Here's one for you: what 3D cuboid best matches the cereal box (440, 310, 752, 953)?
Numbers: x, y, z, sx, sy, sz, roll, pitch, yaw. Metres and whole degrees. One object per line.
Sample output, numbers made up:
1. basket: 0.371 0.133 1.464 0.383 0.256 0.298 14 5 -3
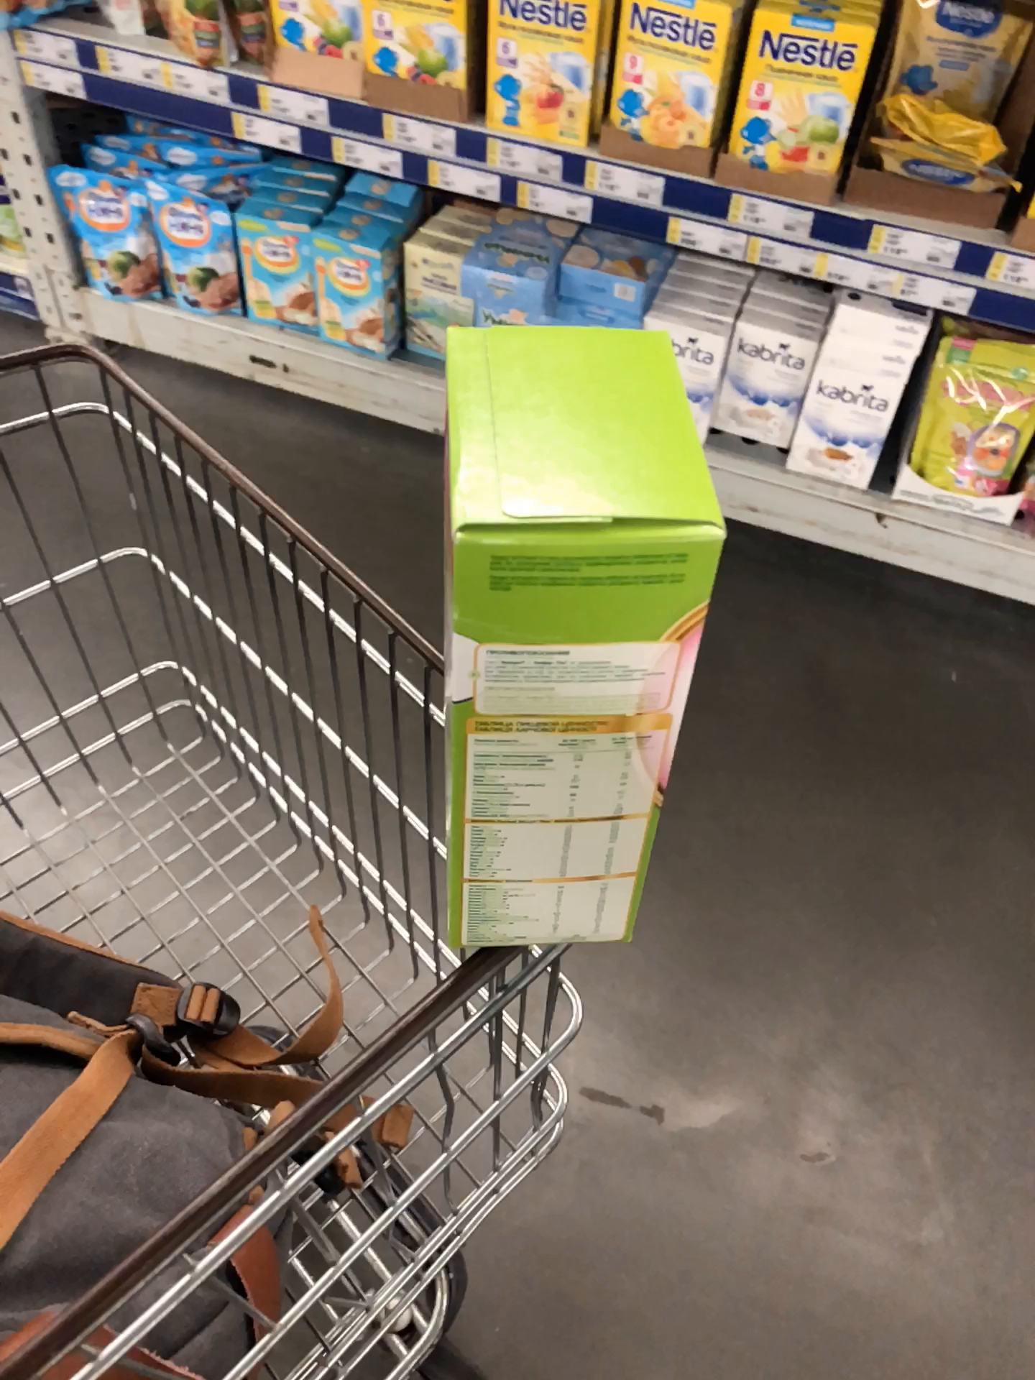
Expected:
1. cereal box: 0.012 -0.010 0.368 0.070 0.189 0.101 -2 47 -5
